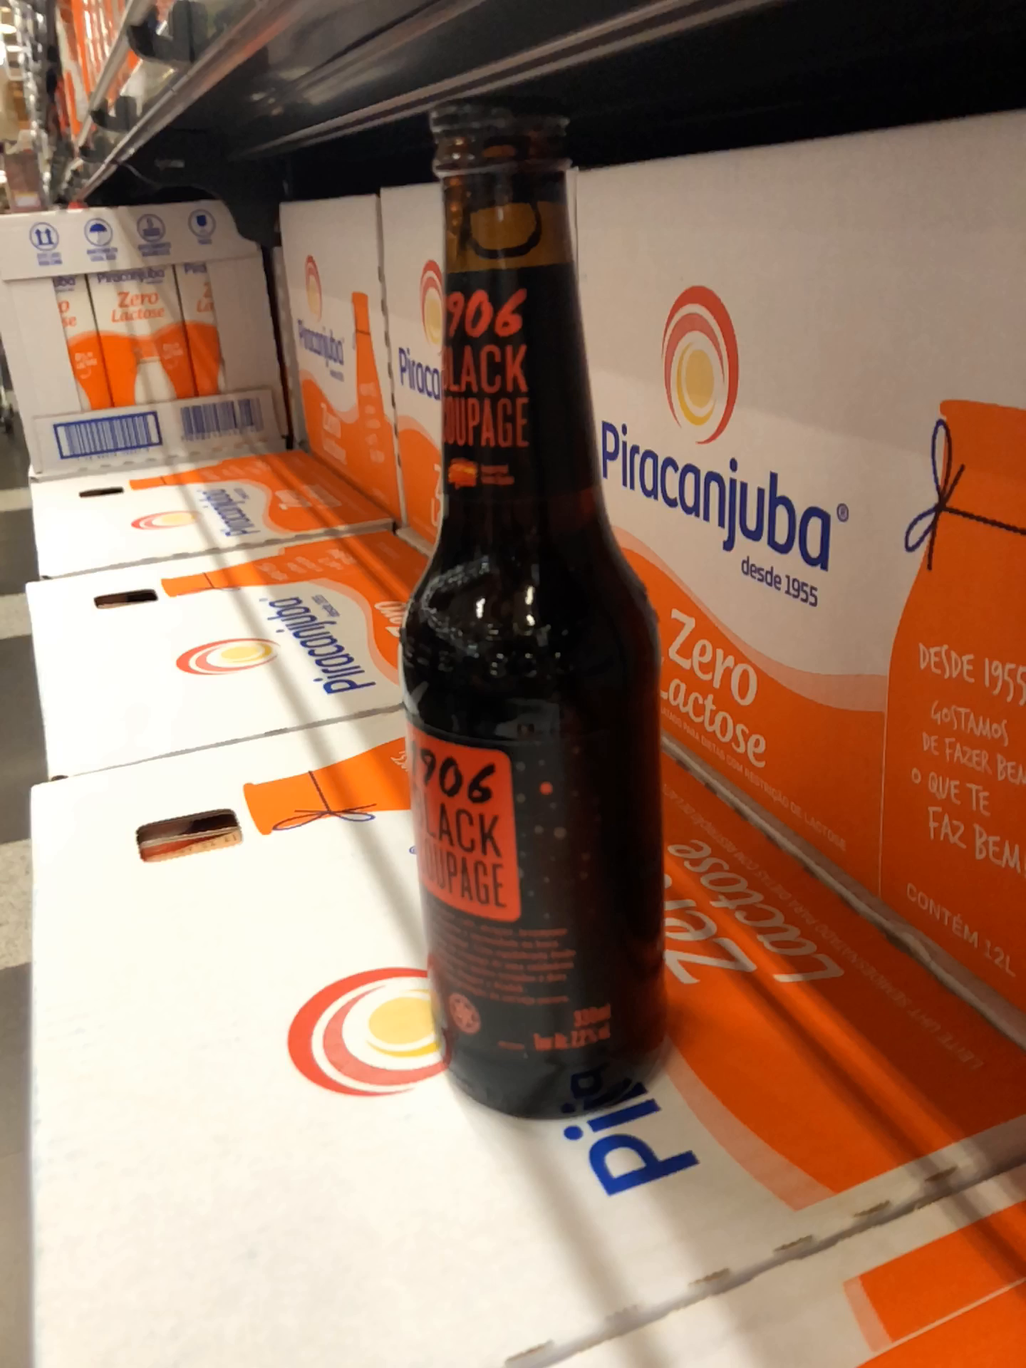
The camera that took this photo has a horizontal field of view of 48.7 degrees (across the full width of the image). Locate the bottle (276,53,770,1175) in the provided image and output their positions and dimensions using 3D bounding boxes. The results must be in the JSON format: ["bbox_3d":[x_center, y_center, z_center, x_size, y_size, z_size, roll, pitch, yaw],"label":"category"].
[{"bbox_3d":[0.008,-0.010,0.252,0.070,0.218,0.060,14,28,37],"label":"bottle"}]
